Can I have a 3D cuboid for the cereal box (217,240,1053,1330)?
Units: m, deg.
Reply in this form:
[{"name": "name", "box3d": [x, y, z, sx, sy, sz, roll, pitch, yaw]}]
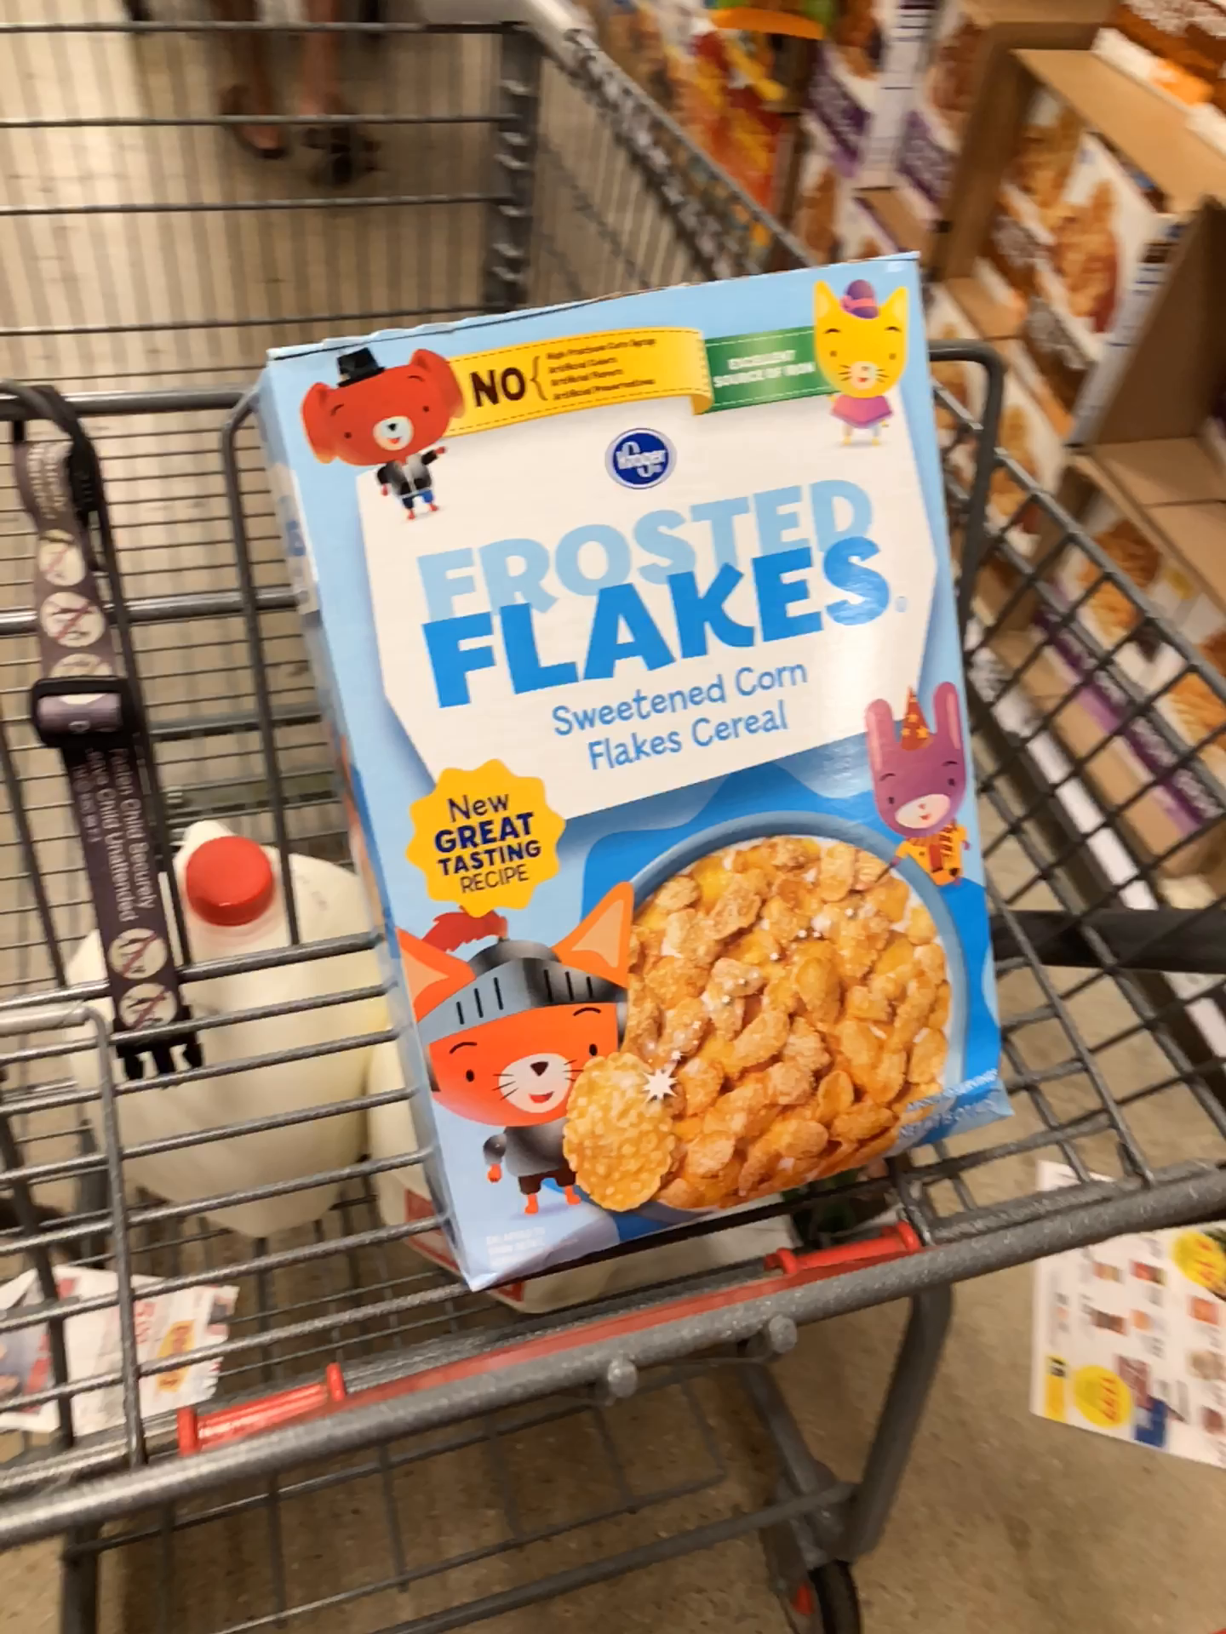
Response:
[{"name": "cereal box", "box3d": [0.014, -0.016, 0.413, 0.200, 0.270, 0.070, -14, 11, -19]}]
